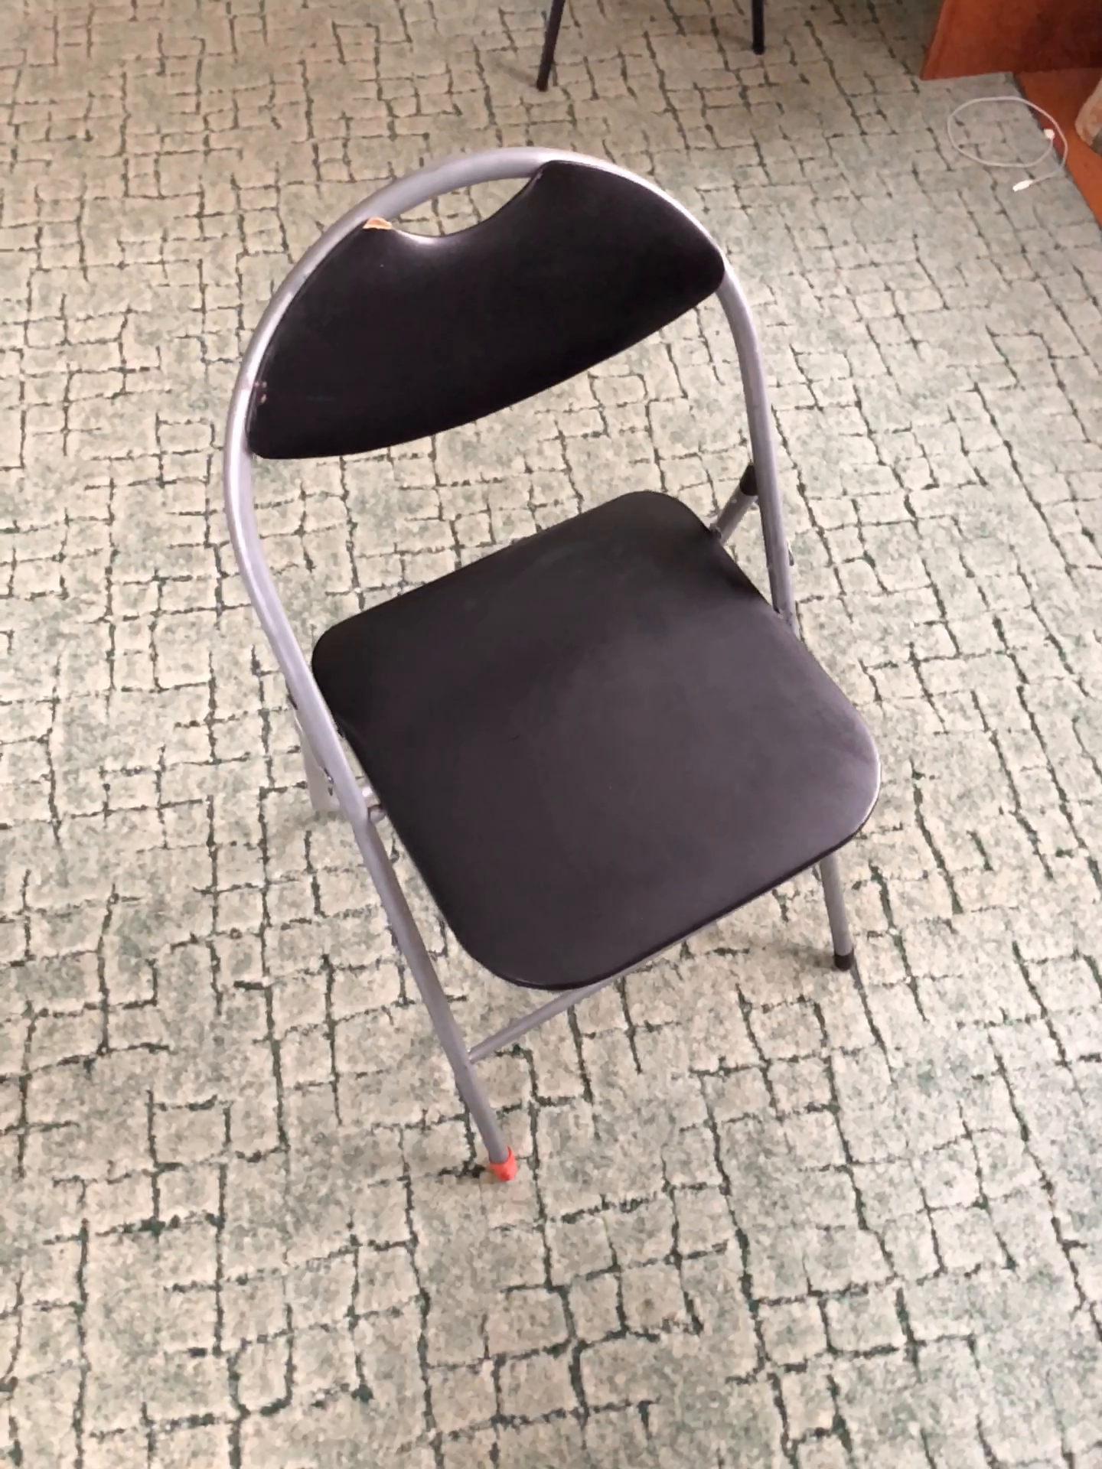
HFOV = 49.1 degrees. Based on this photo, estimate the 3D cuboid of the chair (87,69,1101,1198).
[{"bbox_3d":[0.026,-0.016,1.014,0.457,0.733,0.476,-26,63,-16],"label":"chair"}]
